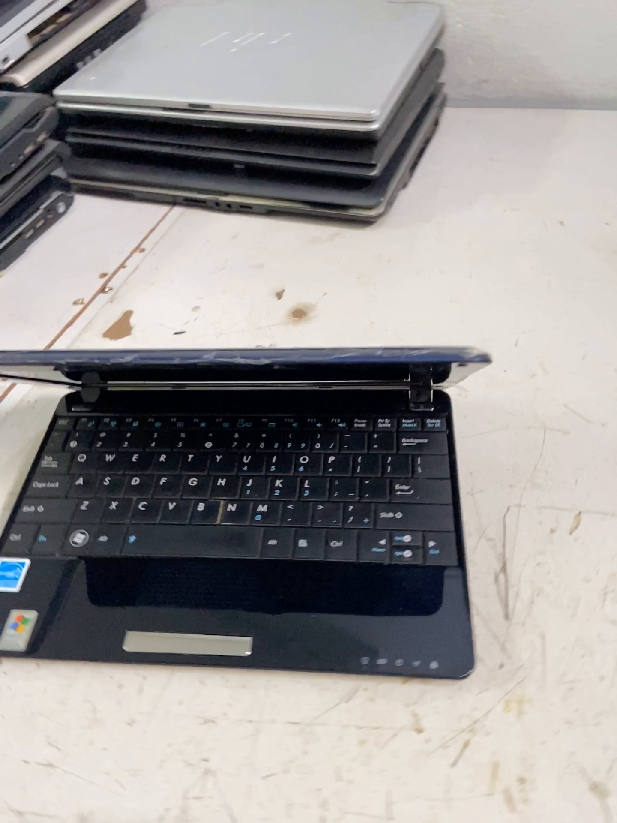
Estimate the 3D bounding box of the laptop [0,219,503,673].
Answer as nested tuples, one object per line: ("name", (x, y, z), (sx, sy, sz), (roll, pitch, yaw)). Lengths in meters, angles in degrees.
("laptop", (-0.052, 0.014, 0.321), (0.258, 0.121, 0.170), (0, 50, 7))
